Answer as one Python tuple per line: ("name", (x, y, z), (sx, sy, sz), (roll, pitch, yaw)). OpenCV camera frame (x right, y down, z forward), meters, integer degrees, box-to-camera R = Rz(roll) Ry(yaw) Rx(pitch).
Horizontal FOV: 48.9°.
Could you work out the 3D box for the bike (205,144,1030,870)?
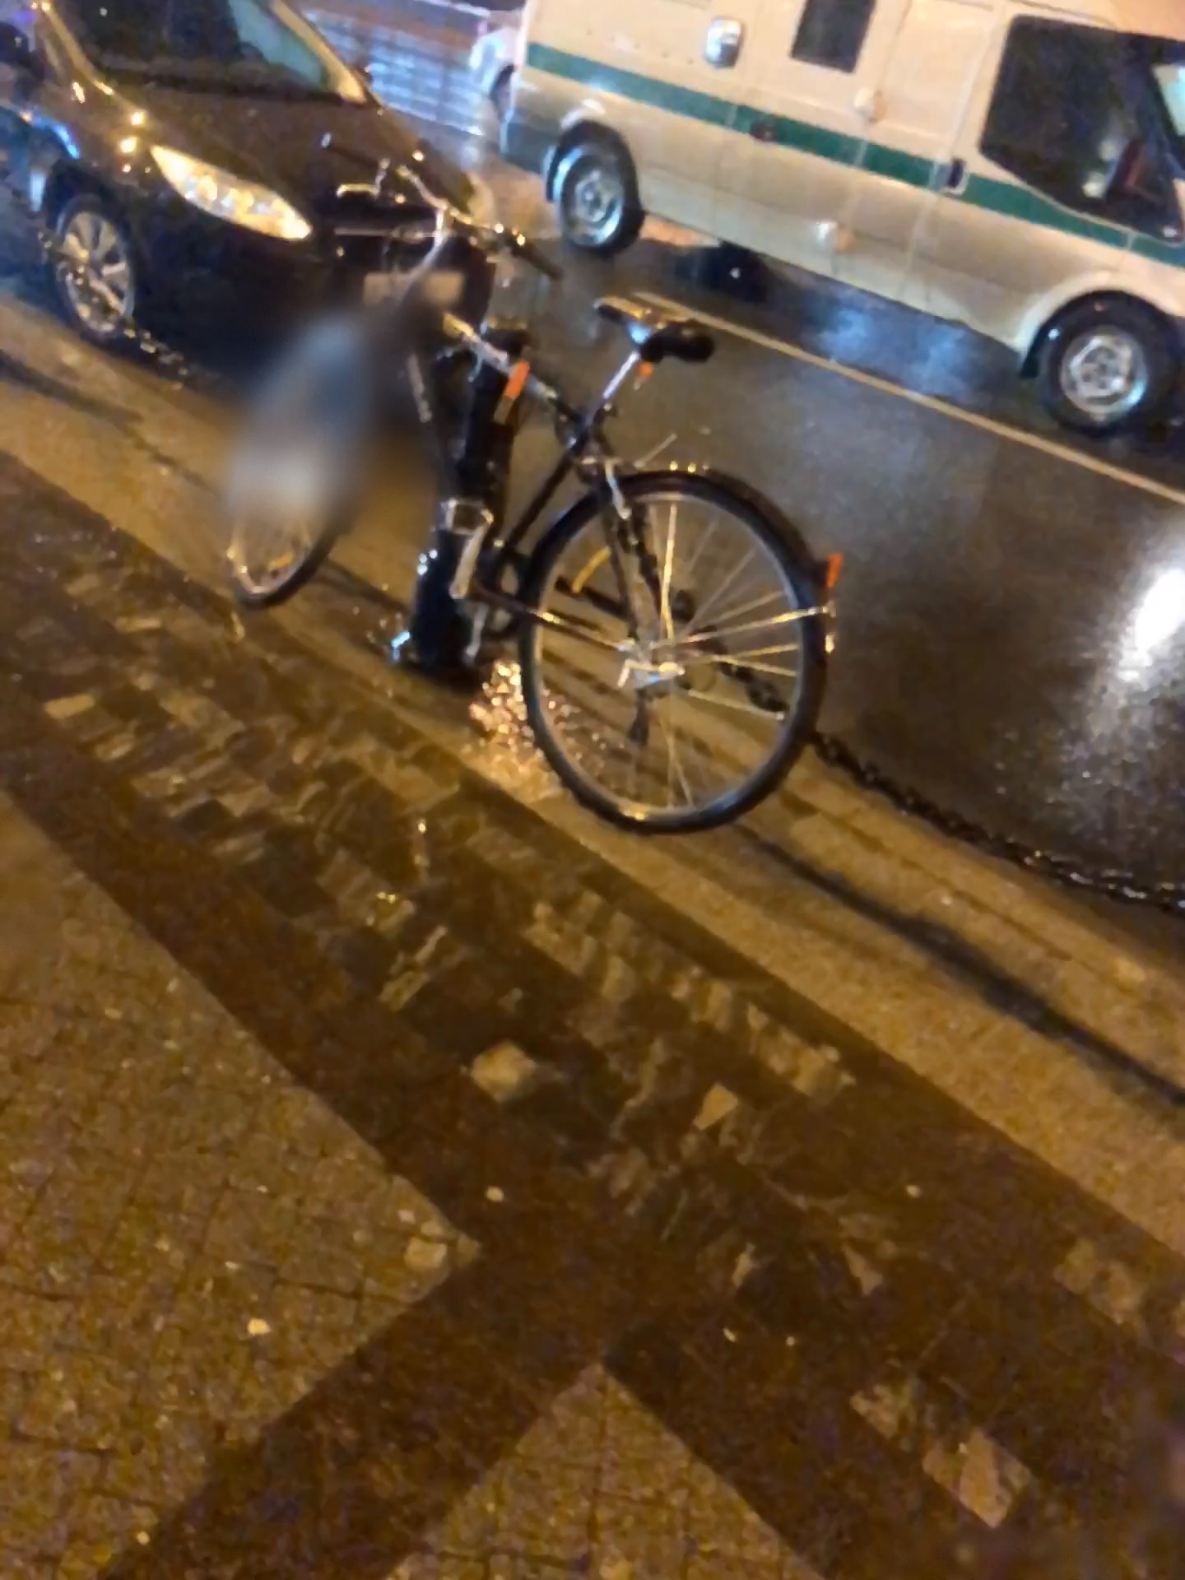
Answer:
("bike", (-0.120, -0.715, 2.821), (0.554, 0.961, 1.752), (-17, 39, -42))
